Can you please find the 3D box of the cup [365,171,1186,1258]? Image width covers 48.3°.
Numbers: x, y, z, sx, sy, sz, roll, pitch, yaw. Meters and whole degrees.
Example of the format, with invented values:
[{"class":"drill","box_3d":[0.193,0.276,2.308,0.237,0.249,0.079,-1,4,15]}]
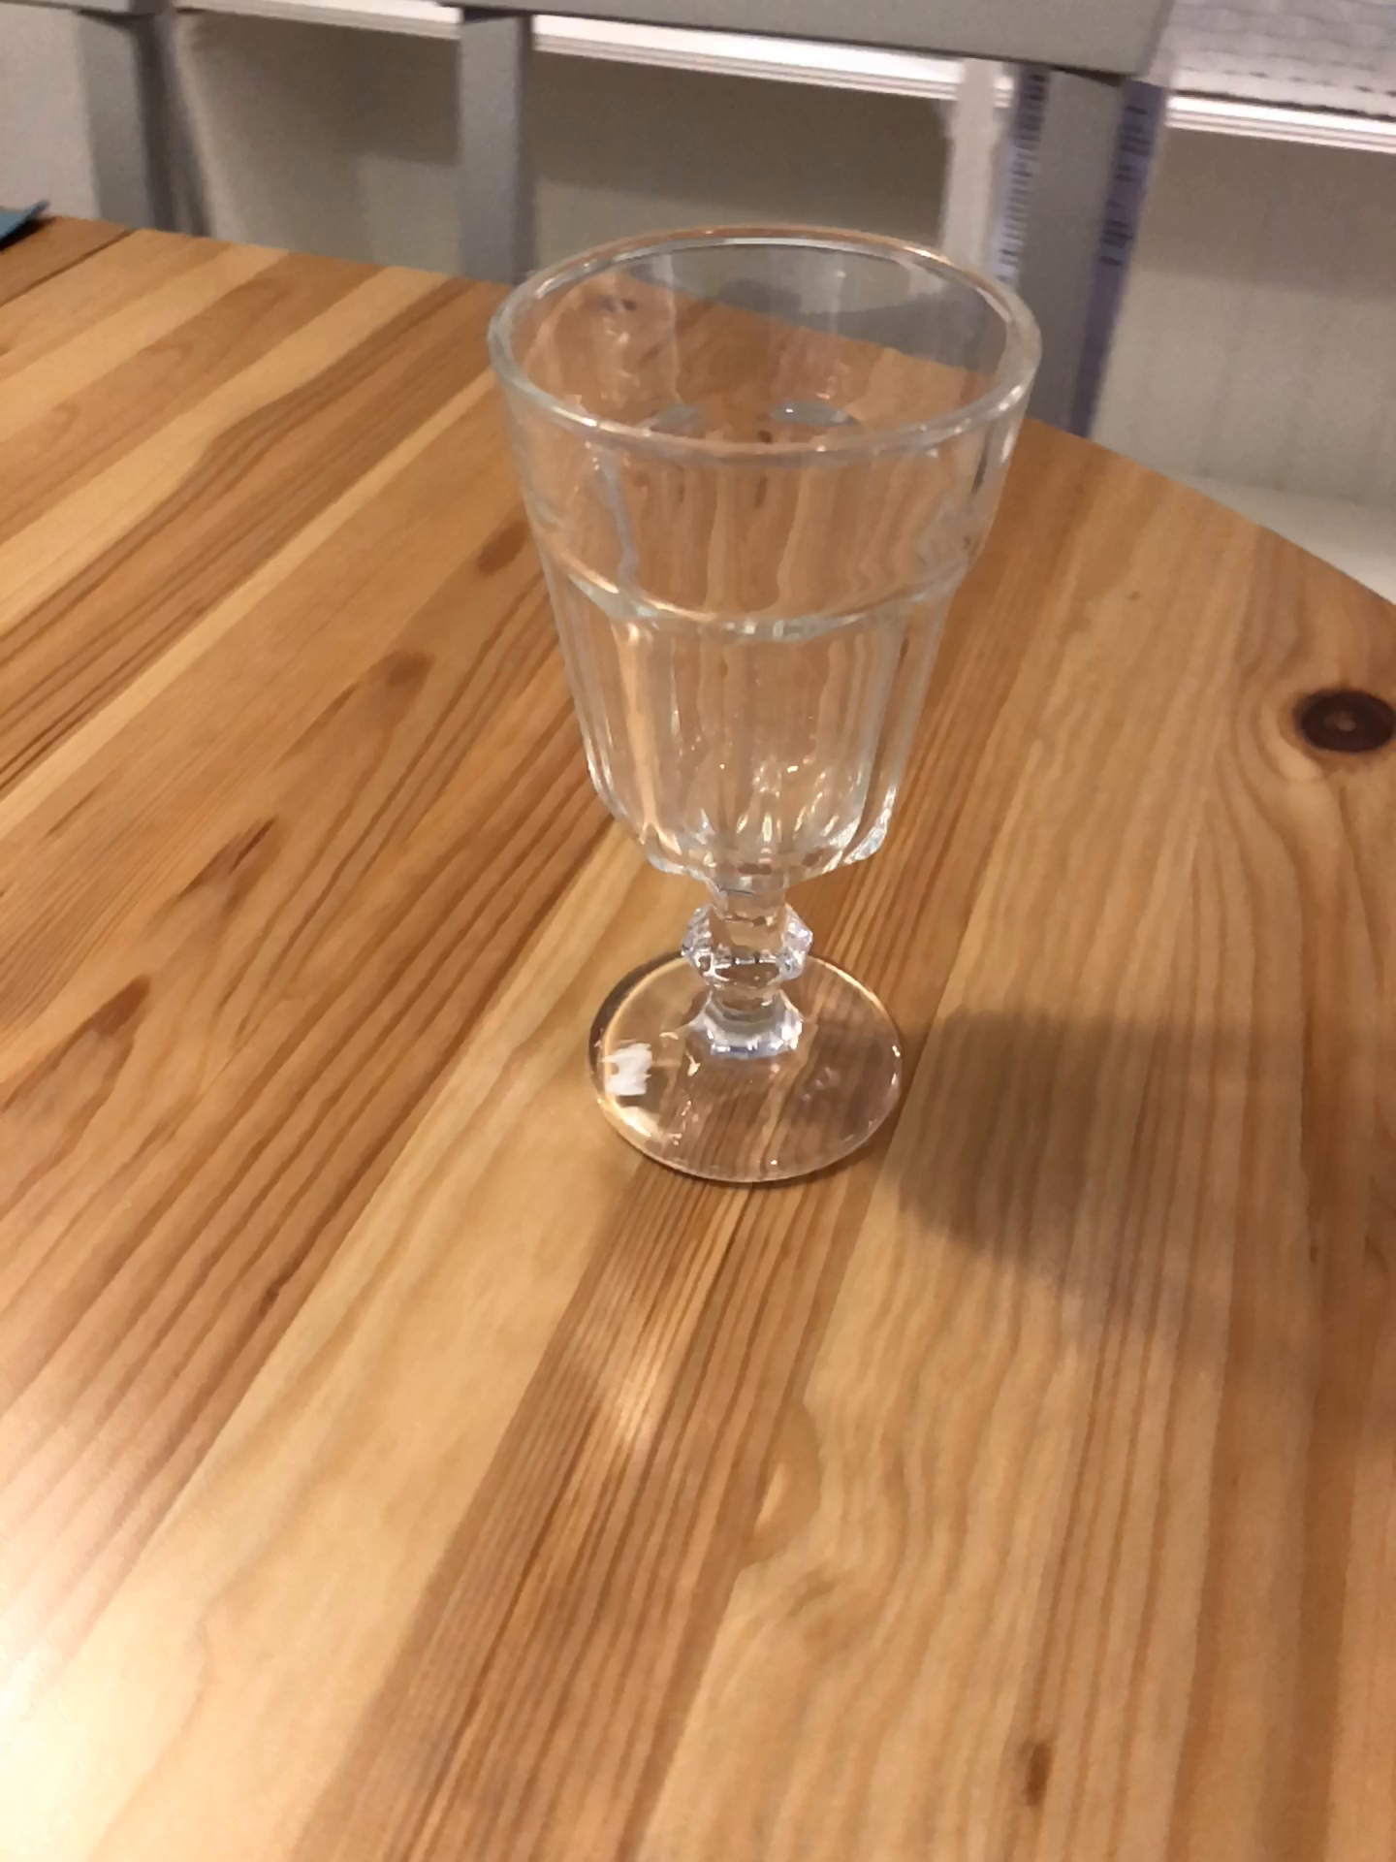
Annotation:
[{"class":"cup","box_3d":[0.007,-0.033,0.256,0.080,0.139,0.080,0,43,0]}]
